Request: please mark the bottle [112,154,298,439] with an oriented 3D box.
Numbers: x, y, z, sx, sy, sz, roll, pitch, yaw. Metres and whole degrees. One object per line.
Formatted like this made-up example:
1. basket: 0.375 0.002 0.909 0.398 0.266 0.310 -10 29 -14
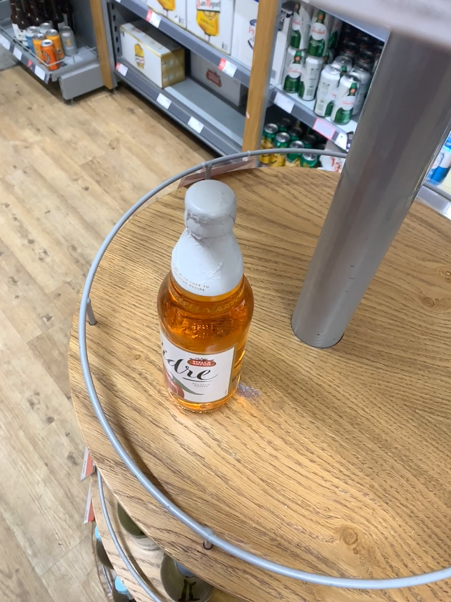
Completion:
1. bottle: -0.017 0.016 0.334 0.070 0.218 0.069 2 55 -3
